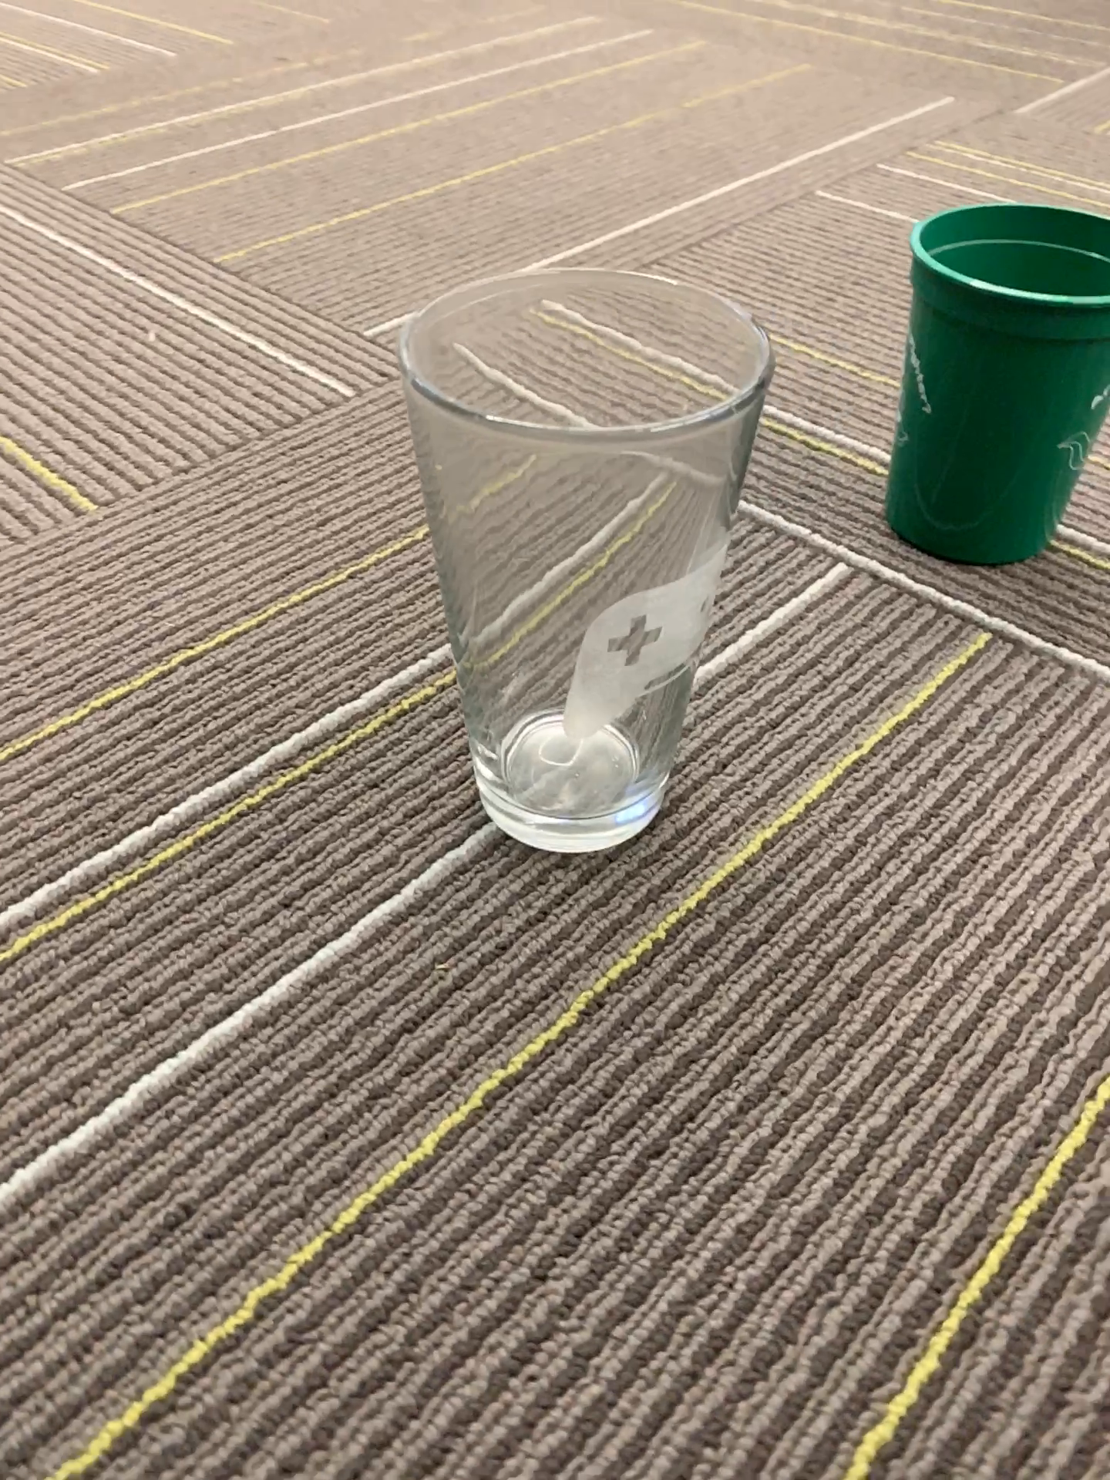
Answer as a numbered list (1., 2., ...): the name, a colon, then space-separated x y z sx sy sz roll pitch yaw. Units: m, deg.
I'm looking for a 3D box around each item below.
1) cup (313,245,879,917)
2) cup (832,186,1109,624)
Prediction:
1. cup: 0.011 -0.042 0.292 0.090 0.119 0.090 0 43 0
2. cup: 0.166 -0.123 0.421 0.070 0.119 0.080 -30 51 -27
